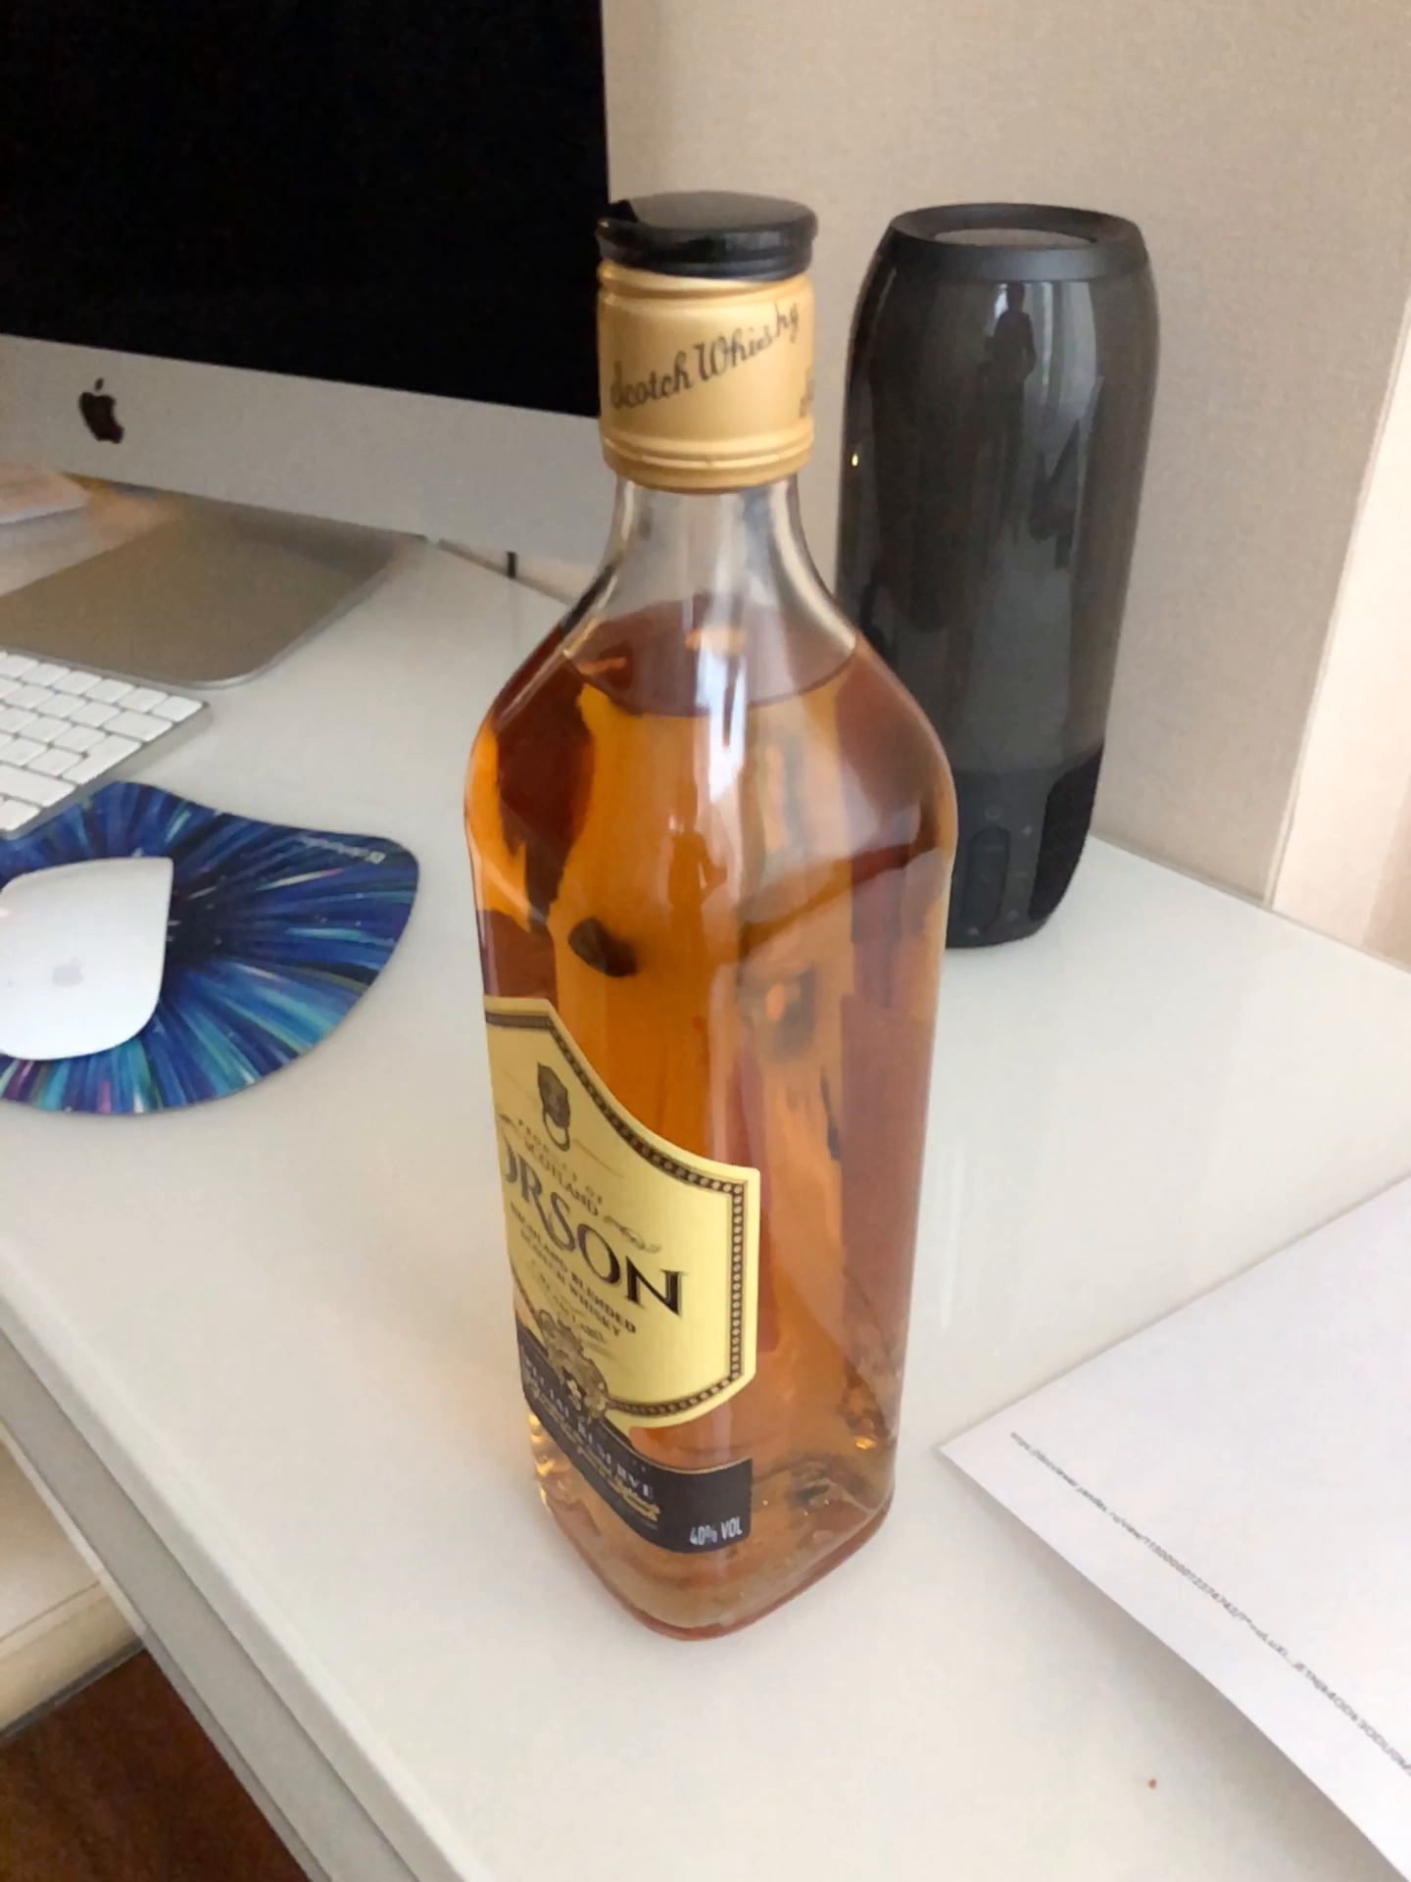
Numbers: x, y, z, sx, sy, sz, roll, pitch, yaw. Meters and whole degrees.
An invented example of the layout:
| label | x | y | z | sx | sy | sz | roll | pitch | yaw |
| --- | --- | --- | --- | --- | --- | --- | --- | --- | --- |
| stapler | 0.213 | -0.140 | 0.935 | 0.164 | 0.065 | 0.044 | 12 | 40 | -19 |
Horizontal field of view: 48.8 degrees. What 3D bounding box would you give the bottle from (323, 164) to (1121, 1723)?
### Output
| label | x | y | z | sx | sy | sz | roll | pitch | yaw |
| --- | --- | --- | --- | --- | --- | --- | --- | --- | --- |
| bottle | -0.001 | 0.014 | 0.273 | 0.070 | 0.258 | 0.080 | -21 | 39 | -28 |
